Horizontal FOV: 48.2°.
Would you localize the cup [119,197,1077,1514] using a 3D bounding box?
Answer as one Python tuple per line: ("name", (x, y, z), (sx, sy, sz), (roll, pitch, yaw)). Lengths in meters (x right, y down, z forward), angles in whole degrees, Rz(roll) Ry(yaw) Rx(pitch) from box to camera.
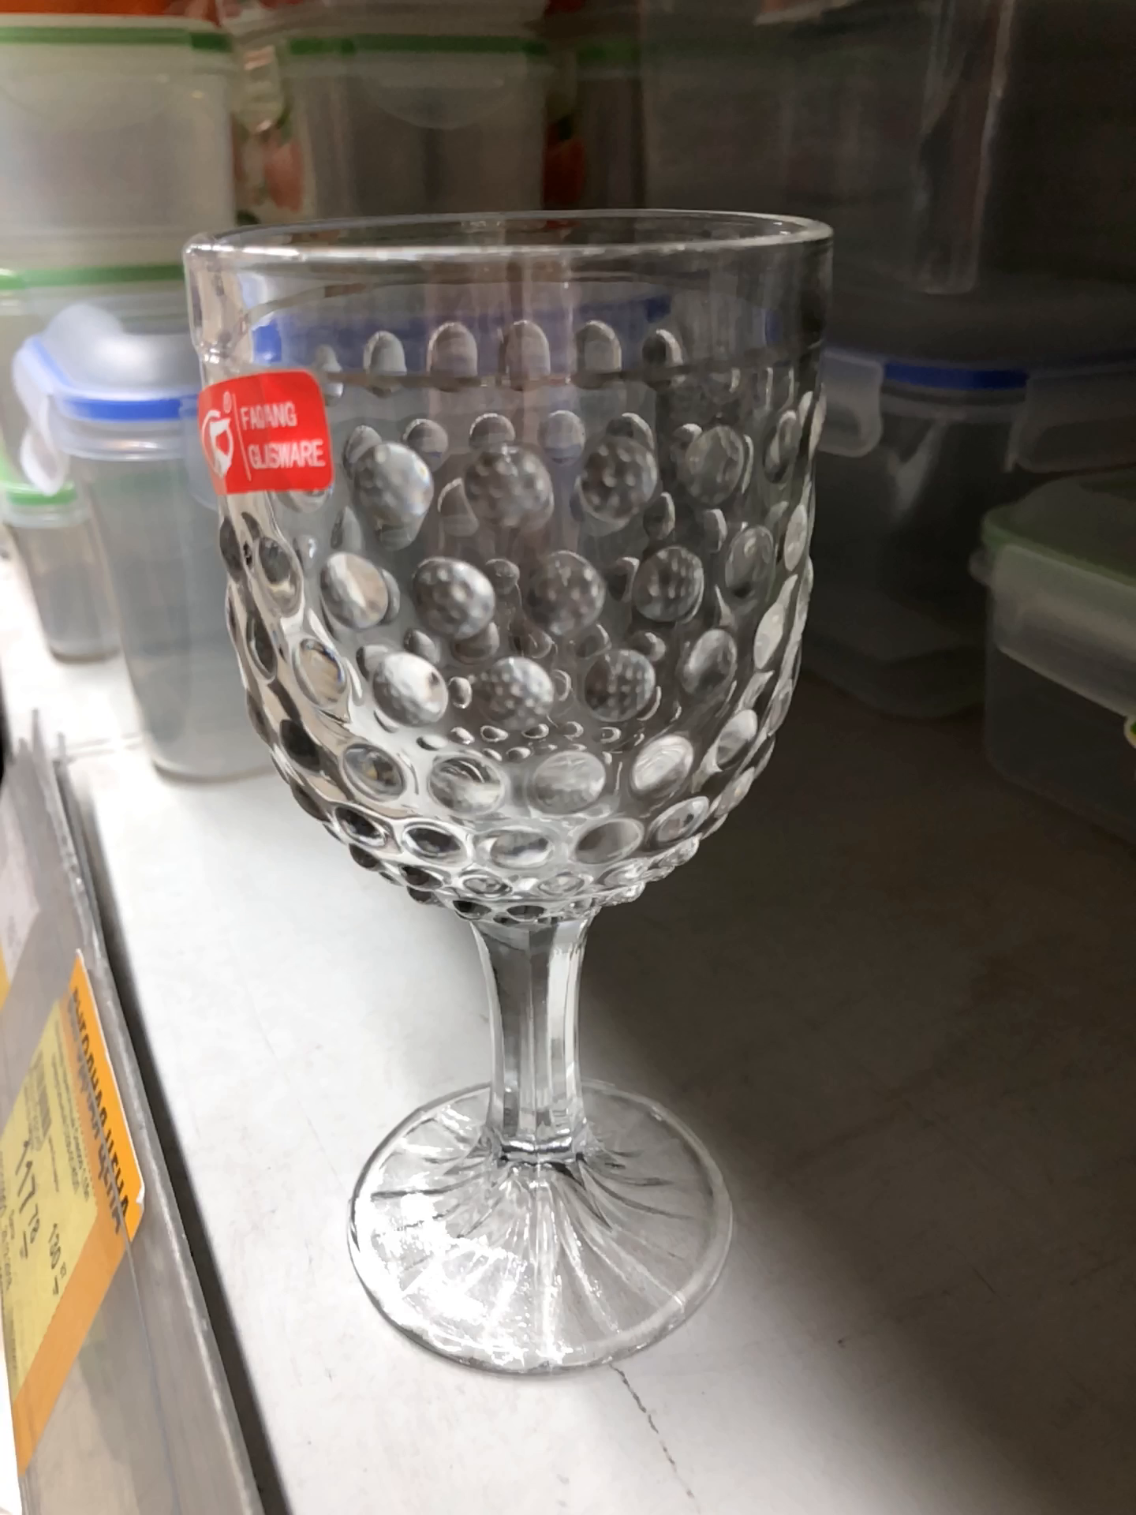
("cup", (-0.003, 0.007, 0.185), (0.086, 0.160, 0.081), (1, 25, 0))
